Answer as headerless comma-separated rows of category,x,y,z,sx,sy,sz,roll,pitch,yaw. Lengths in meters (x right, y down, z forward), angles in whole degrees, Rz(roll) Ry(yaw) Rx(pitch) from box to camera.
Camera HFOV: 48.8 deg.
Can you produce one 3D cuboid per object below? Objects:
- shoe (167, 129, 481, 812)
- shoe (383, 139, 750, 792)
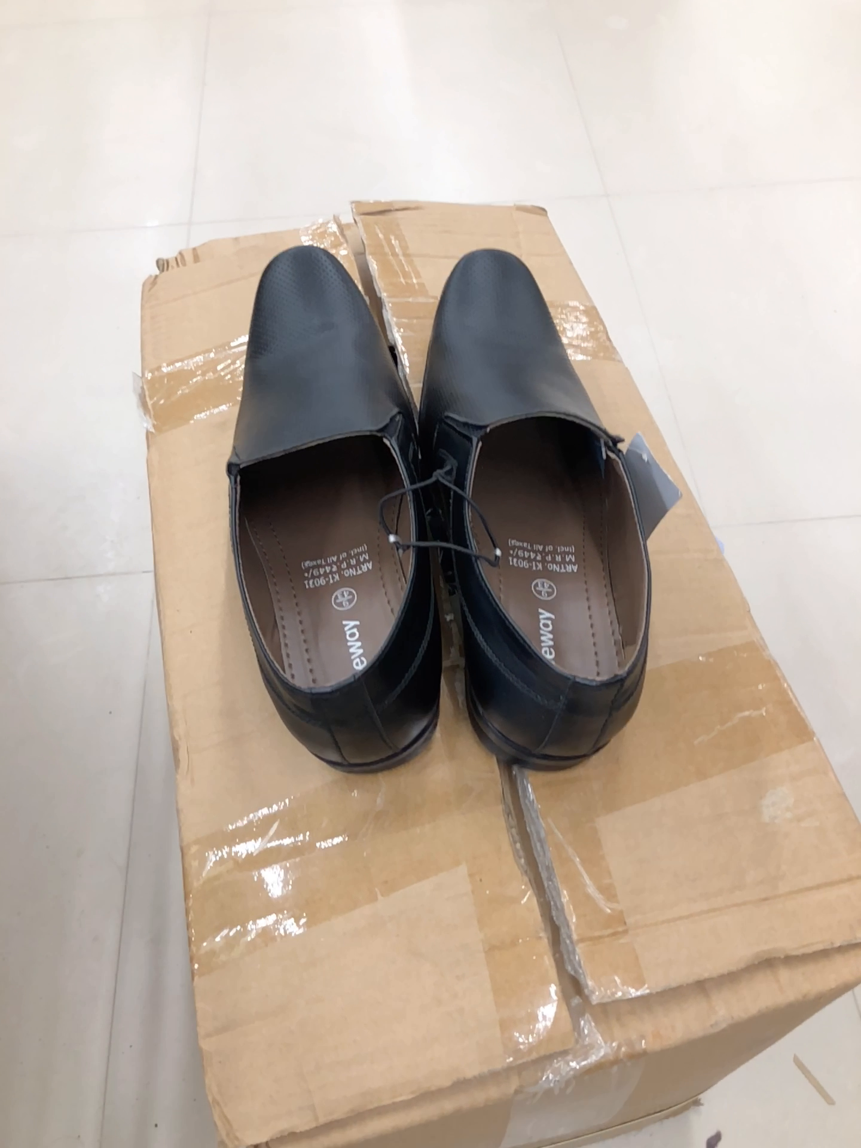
shoe,-0.056,-0.066,0.451,0.100,0.100,0.321,-10,56,1
shoe,0.041,-0.071,0.456,0.100,0.100,0.321,-3,56,-6
